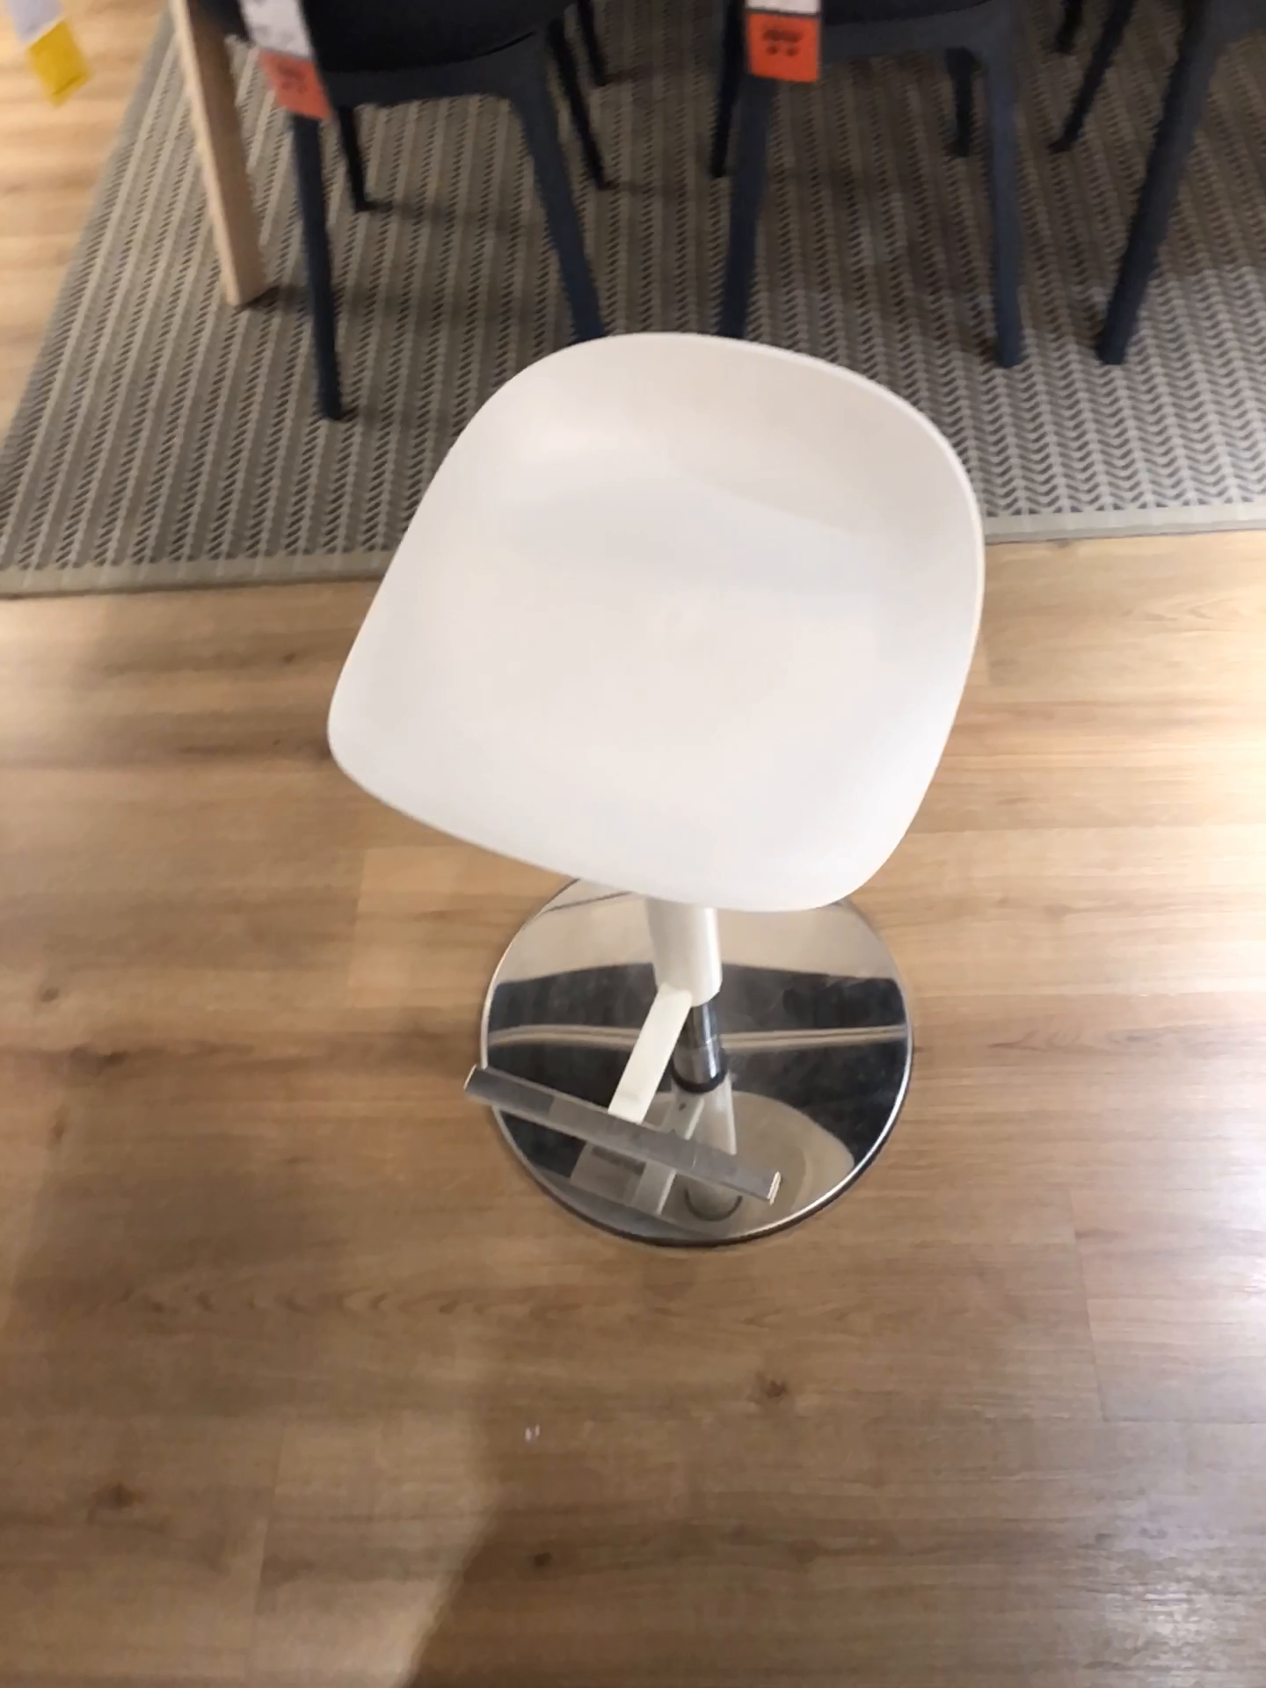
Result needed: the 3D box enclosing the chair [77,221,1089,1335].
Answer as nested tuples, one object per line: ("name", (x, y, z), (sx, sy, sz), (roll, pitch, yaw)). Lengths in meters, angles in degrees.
("chair", (0.023, 0.000, 1.069), (0.440, 0.699, 0.451), (14, 60, 14))
